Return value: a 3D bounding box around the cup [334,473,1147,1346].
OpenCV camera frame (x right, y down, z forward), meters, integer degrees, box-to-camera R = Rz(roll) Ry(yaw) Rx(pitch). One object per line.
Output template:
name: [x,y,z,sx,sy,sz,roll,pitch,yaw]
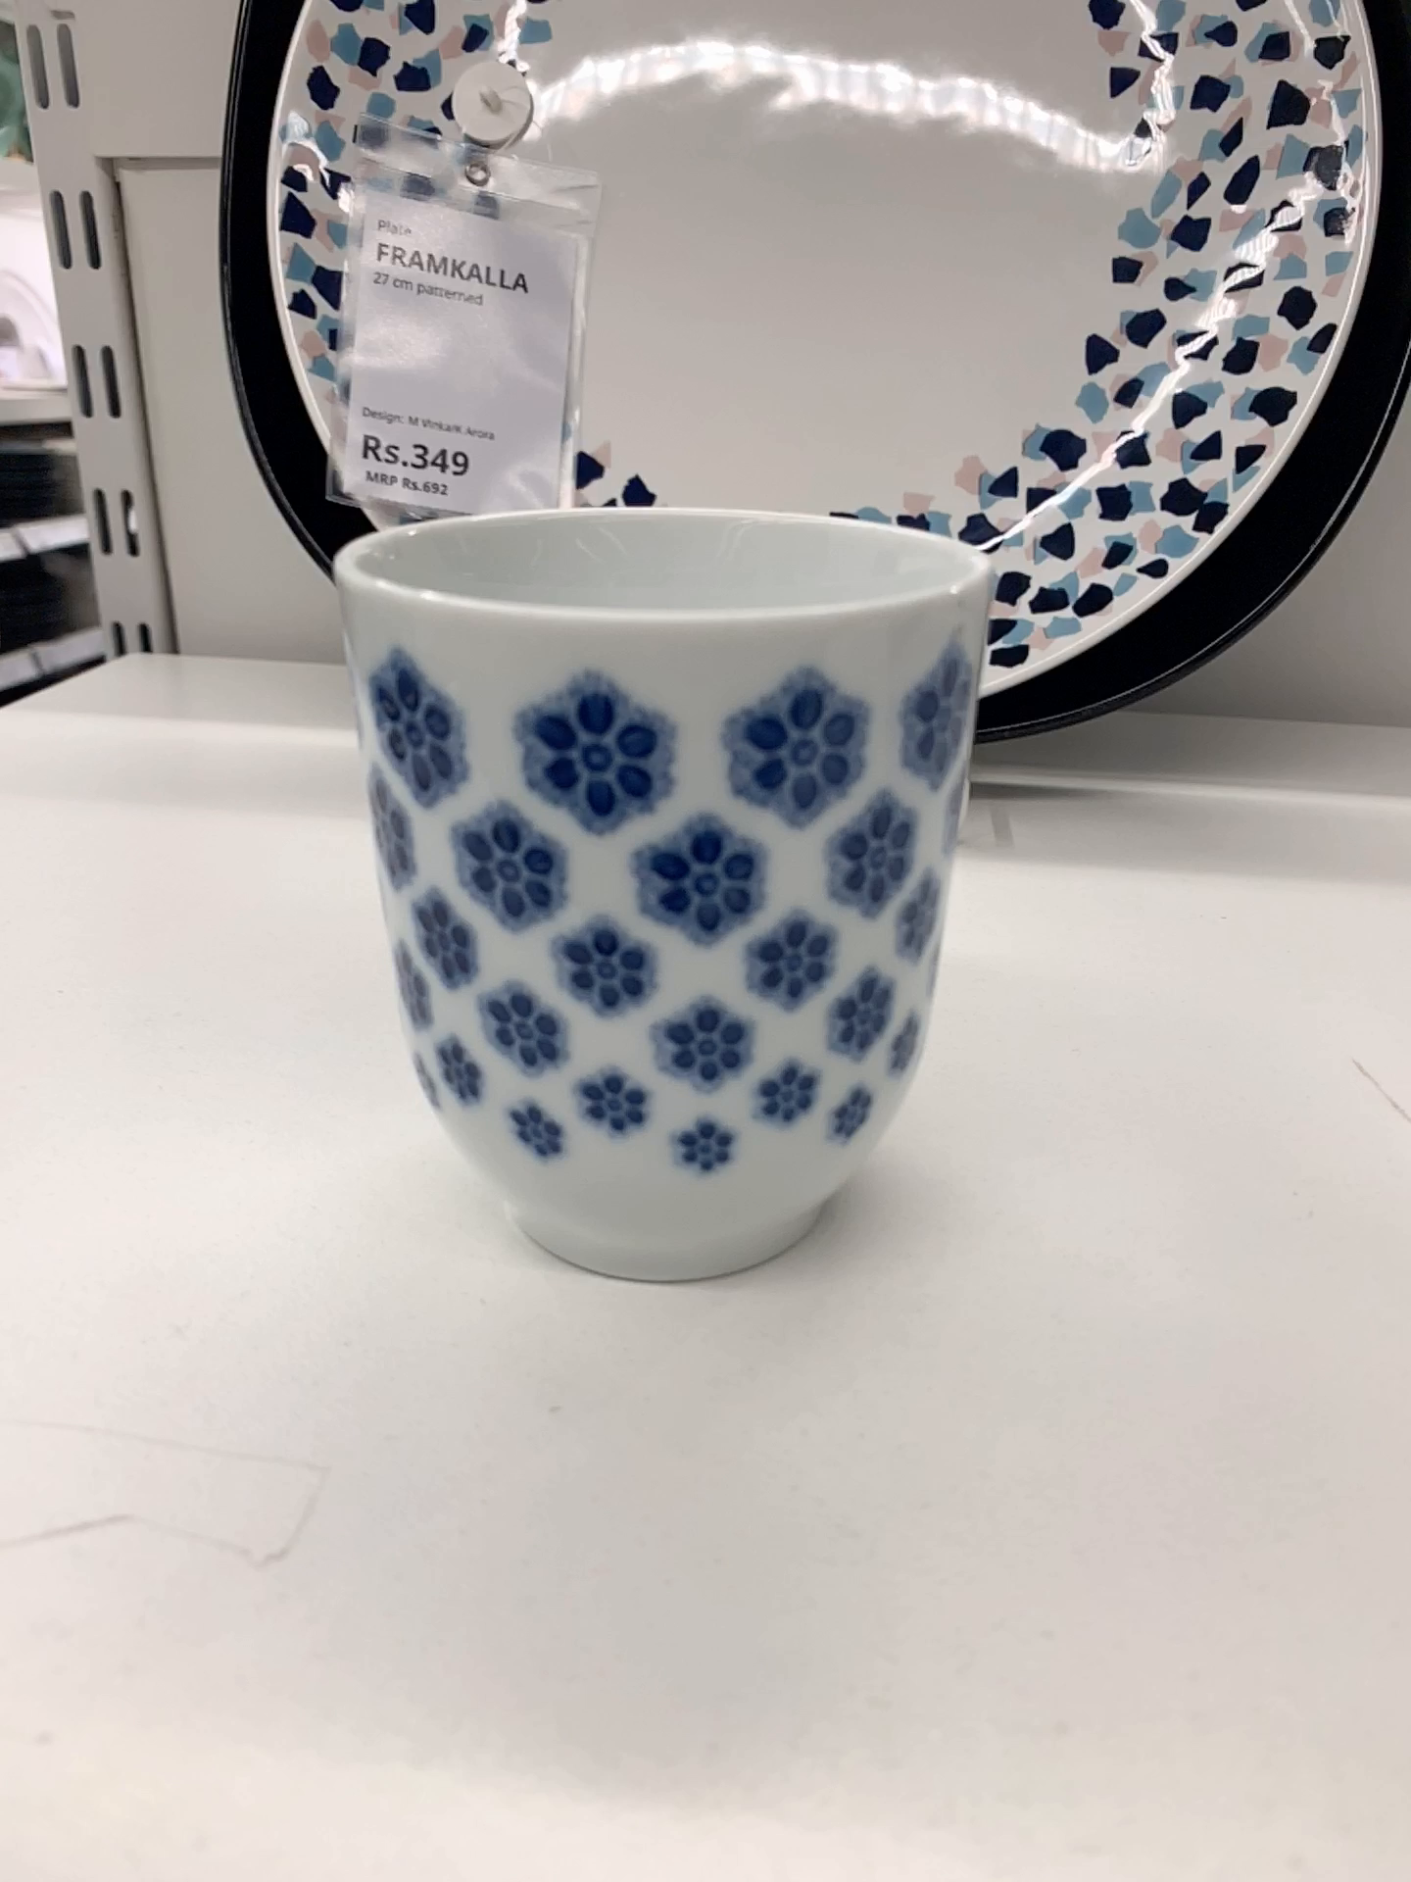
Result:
cup: [-0.004,-0.013,0.182,0.070,0.080,0.080,-6,23,-18]
